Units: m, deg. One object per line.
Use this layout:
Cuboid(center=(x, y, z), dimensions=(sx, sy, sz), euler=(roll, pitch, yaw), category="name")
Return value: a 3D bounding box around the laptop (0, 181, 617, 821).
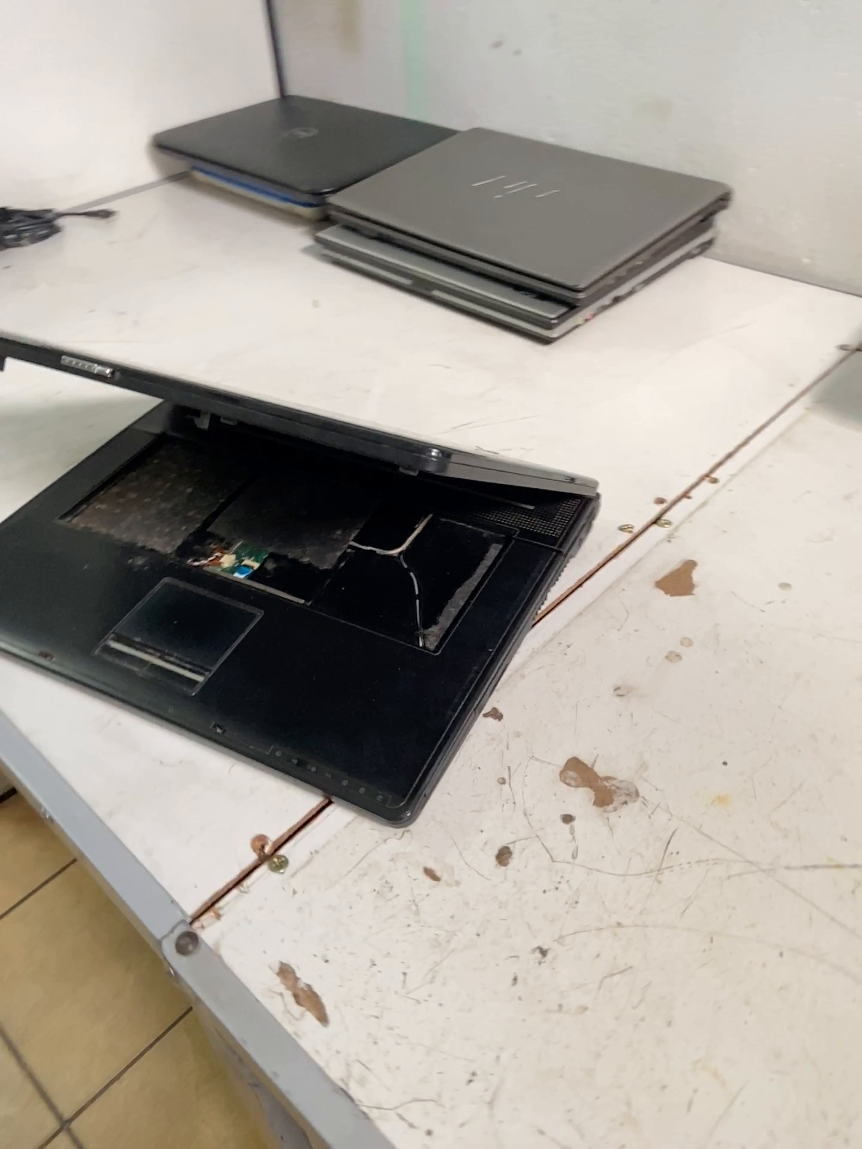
Cuboid(center=(-0.109, -0.077, 0.512), dimensions=(0.348, 0.164, 0.261), euler=(17, 47, 23), category="laptop")
